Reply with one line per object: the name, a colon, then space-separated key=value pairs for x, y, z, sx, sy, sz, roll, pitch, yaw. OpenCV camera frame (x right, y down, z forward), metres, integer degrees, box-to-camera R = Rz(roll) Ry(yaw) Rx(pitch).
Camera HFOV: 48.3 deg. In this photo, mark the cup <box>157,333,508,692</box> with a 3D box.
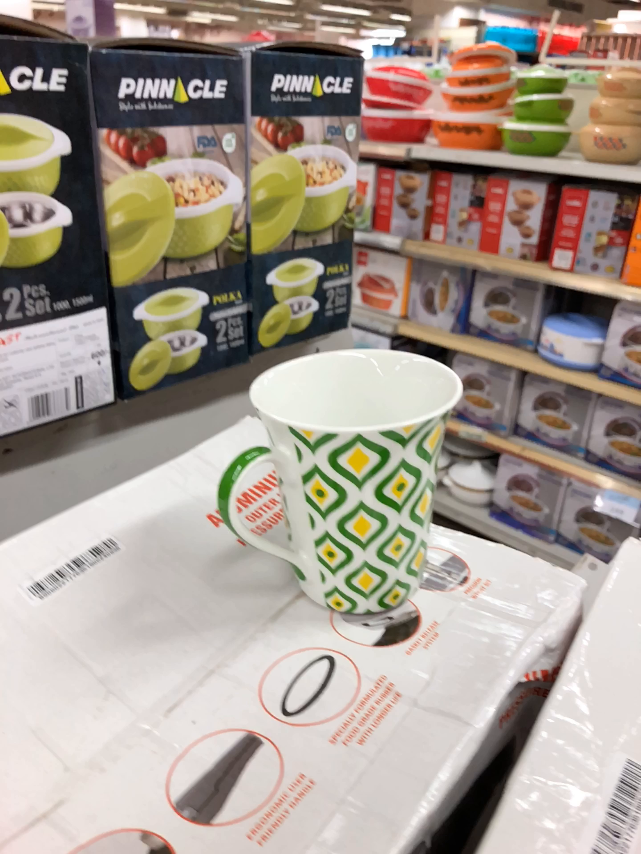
cup: x=0.010 y=0.023 z=0.298 sx=0.090 sy=0.090 sz=0.111 roll=15 pitch=28 yaw=36
